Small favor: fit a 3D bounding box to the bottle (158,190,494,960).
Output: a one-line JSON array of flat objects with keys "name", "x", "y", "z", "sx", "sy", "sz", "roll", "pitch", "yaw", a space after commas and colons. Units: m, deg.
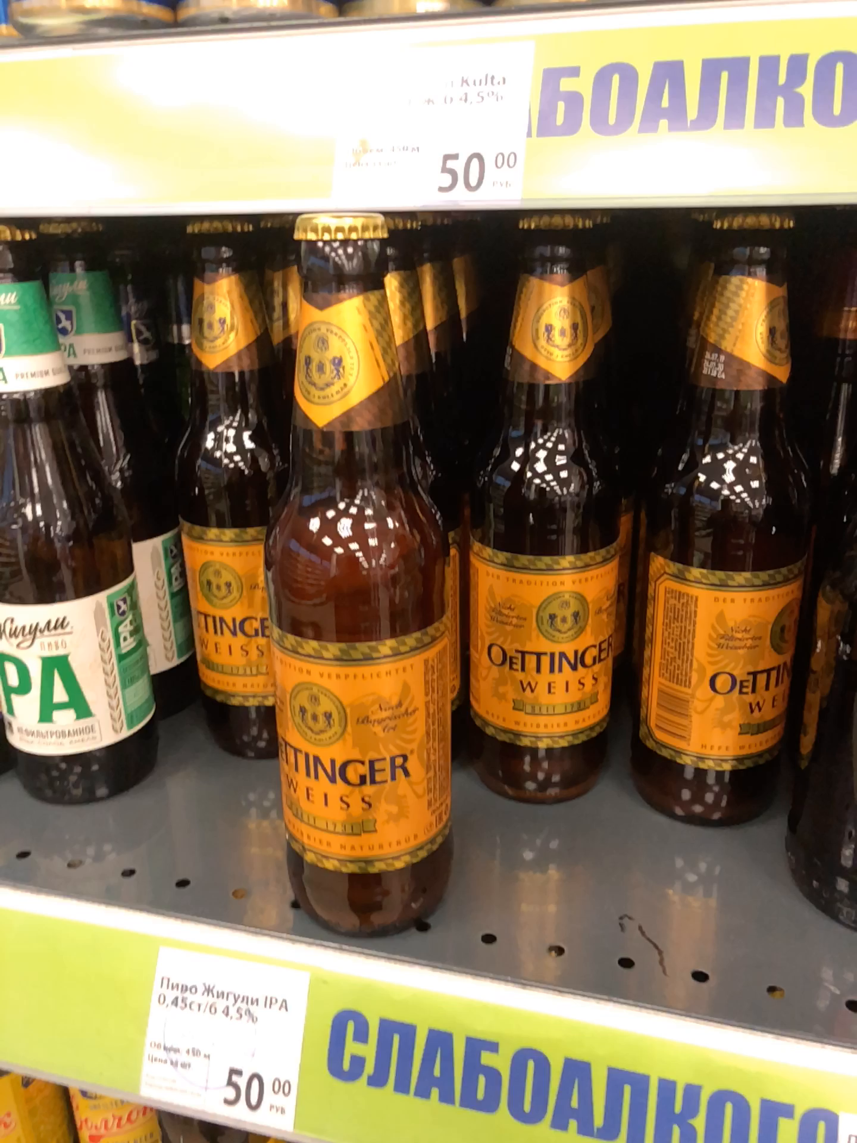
[{"name": "bottle", "x": -0.025, "y": 0.002, "z": 0.322, "sx": 0.071, "sy": 0.243, "sz": 0.070, "roll": -1, "pitch": 22, "yaw": 0}]
